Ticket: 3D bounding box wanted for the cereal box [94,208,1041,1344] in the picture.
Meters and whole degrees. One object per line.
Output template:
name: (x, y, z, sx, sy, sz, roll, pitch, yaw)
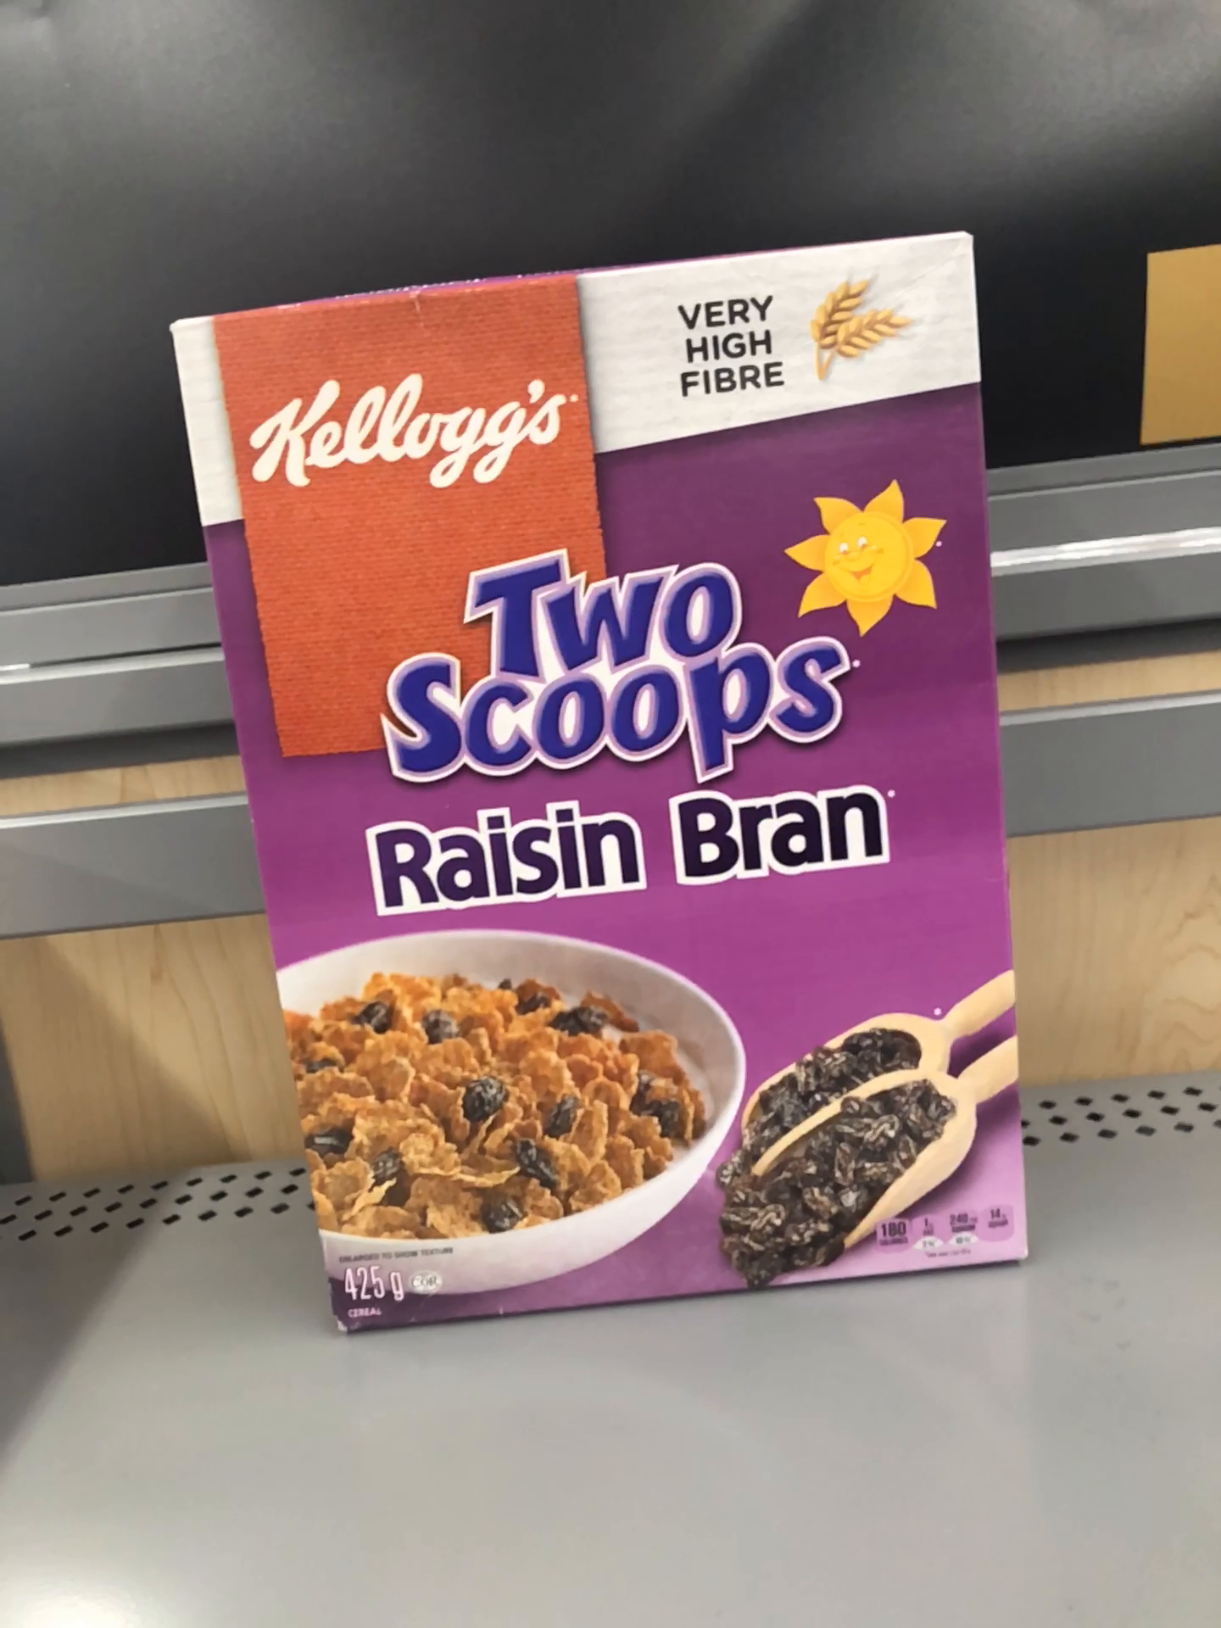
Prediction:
cereal box: (-0.003, -0.004, 0.366, 0.210, 0.269, 0.050, -6, 11, 1)
